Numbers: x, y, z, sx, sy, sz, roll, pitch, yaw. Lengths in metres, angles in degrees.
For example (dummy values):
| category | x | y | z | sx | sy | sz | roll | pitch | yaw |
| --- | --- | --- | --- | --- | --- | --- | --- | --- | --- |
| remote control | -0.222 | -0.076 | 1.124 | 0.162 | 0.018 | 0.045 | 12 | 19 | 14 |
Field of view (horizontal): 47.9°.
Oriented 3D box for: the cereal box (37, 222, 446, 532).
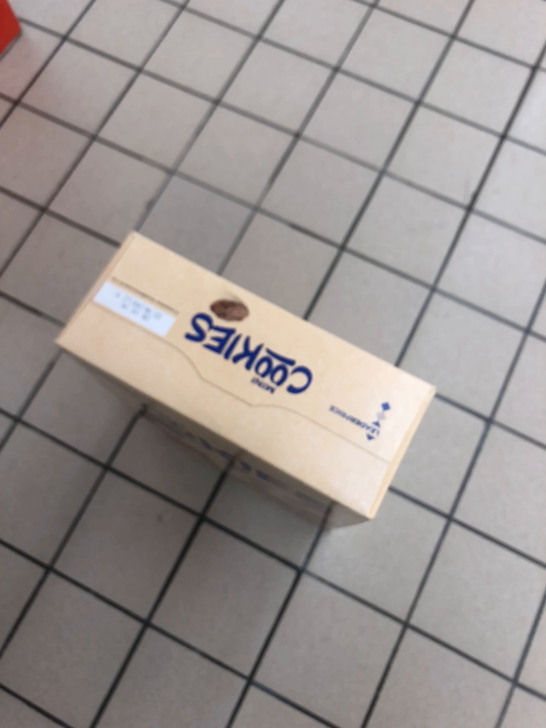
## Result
| category | x | y | z | sx | sy | sz | roll | pitch | yaw |
| --- | --- | --- | --- | --- | --- | --- | --- | --- | --- |
| cereal box | -0.014 | 0.037 | 0.455 | 0.200 | 0.280 | 0.080 | 27 | 77 | 9 |
